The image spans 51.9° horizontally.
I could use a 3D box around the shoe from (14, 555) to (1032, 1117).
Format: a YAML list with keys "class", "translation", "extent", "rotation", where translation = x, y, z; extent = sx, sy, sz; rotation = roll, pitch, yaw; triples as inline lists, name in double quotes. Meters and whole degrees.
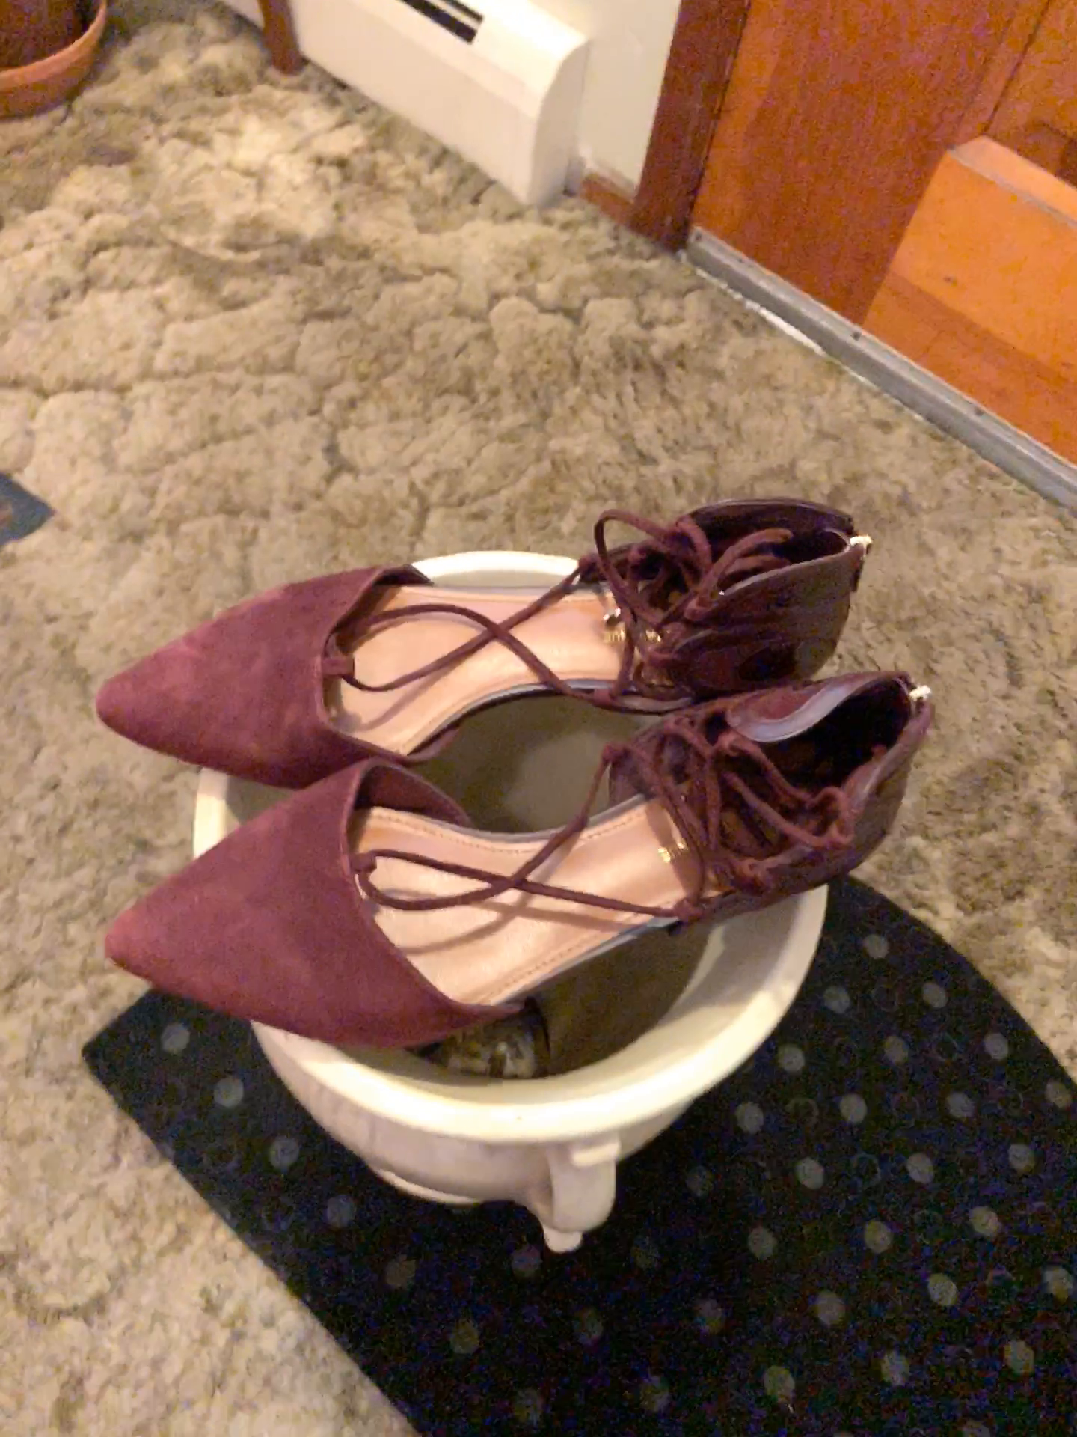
- class: "shoe"
  translation: [-0.006, 0.034, 0.340]
  extent: [0.260, 0.099, 0.093]
  rotation: [-10, 62, -14]

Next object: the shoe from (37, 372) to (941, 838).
- class: "shoe"
  translation: [-0.018, -0.040, 0.376]
  extent: [0.260, 0.099, 0.093]
  rotation: [-7, 62, -12]
